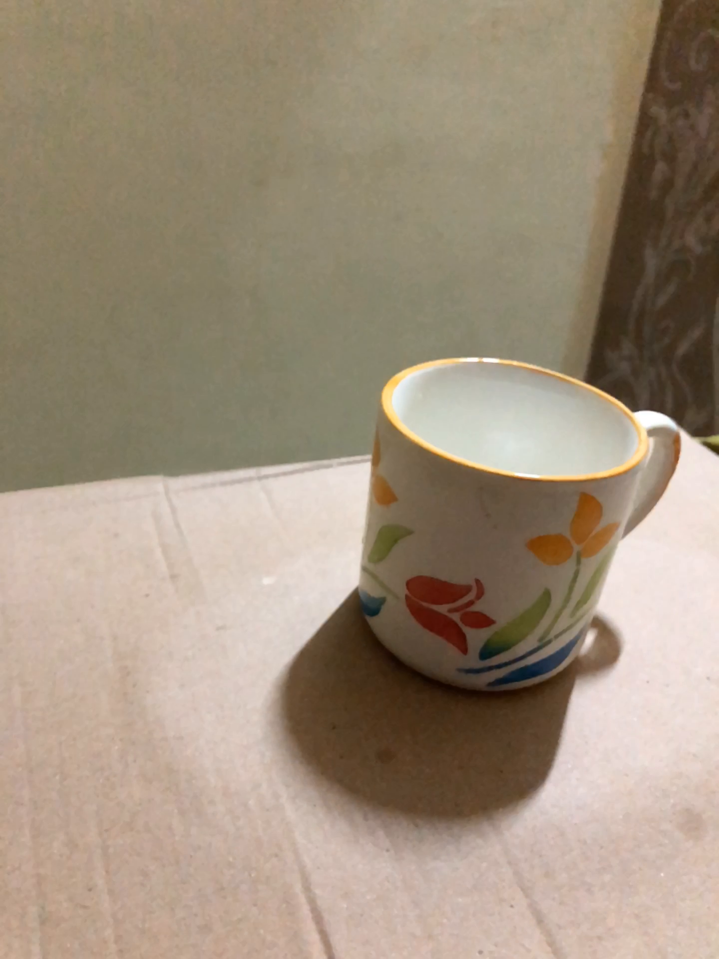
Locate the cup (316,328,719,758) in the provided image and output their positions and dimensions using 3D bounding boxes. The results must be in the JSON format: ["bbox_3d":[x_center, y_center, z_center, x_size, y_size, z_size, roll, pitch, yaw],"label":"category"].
[{"bbox_3d":[0.061,0.010,0.264,0.120,0.079,0.090,-13,33,-27],"label":"cup"}]
